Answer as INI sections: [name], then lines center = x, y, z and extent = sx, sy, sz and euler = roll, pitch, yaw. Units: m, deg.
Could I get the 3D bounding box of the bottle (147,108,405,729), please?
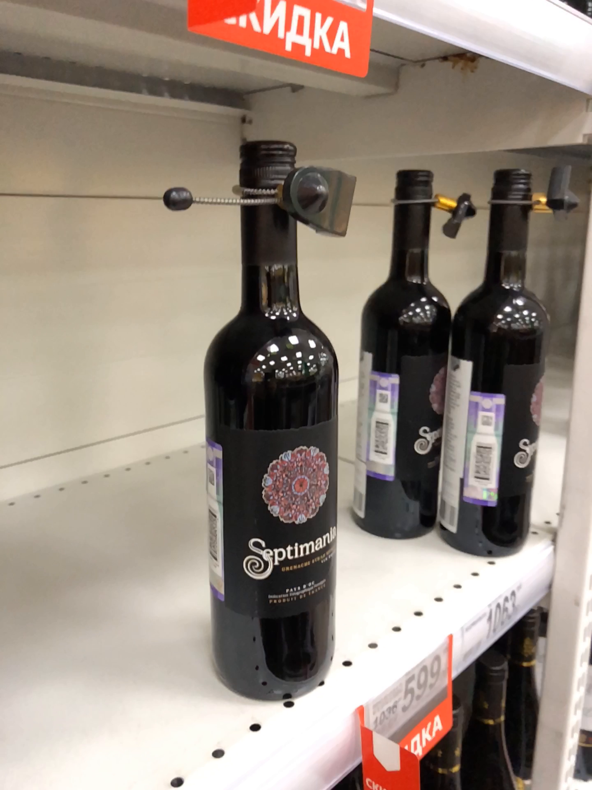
[bottle]
center = -0.012, 0.011, 0.357
extent = 0.090, 0.291, 0.090
euler = 0, 14, 0
